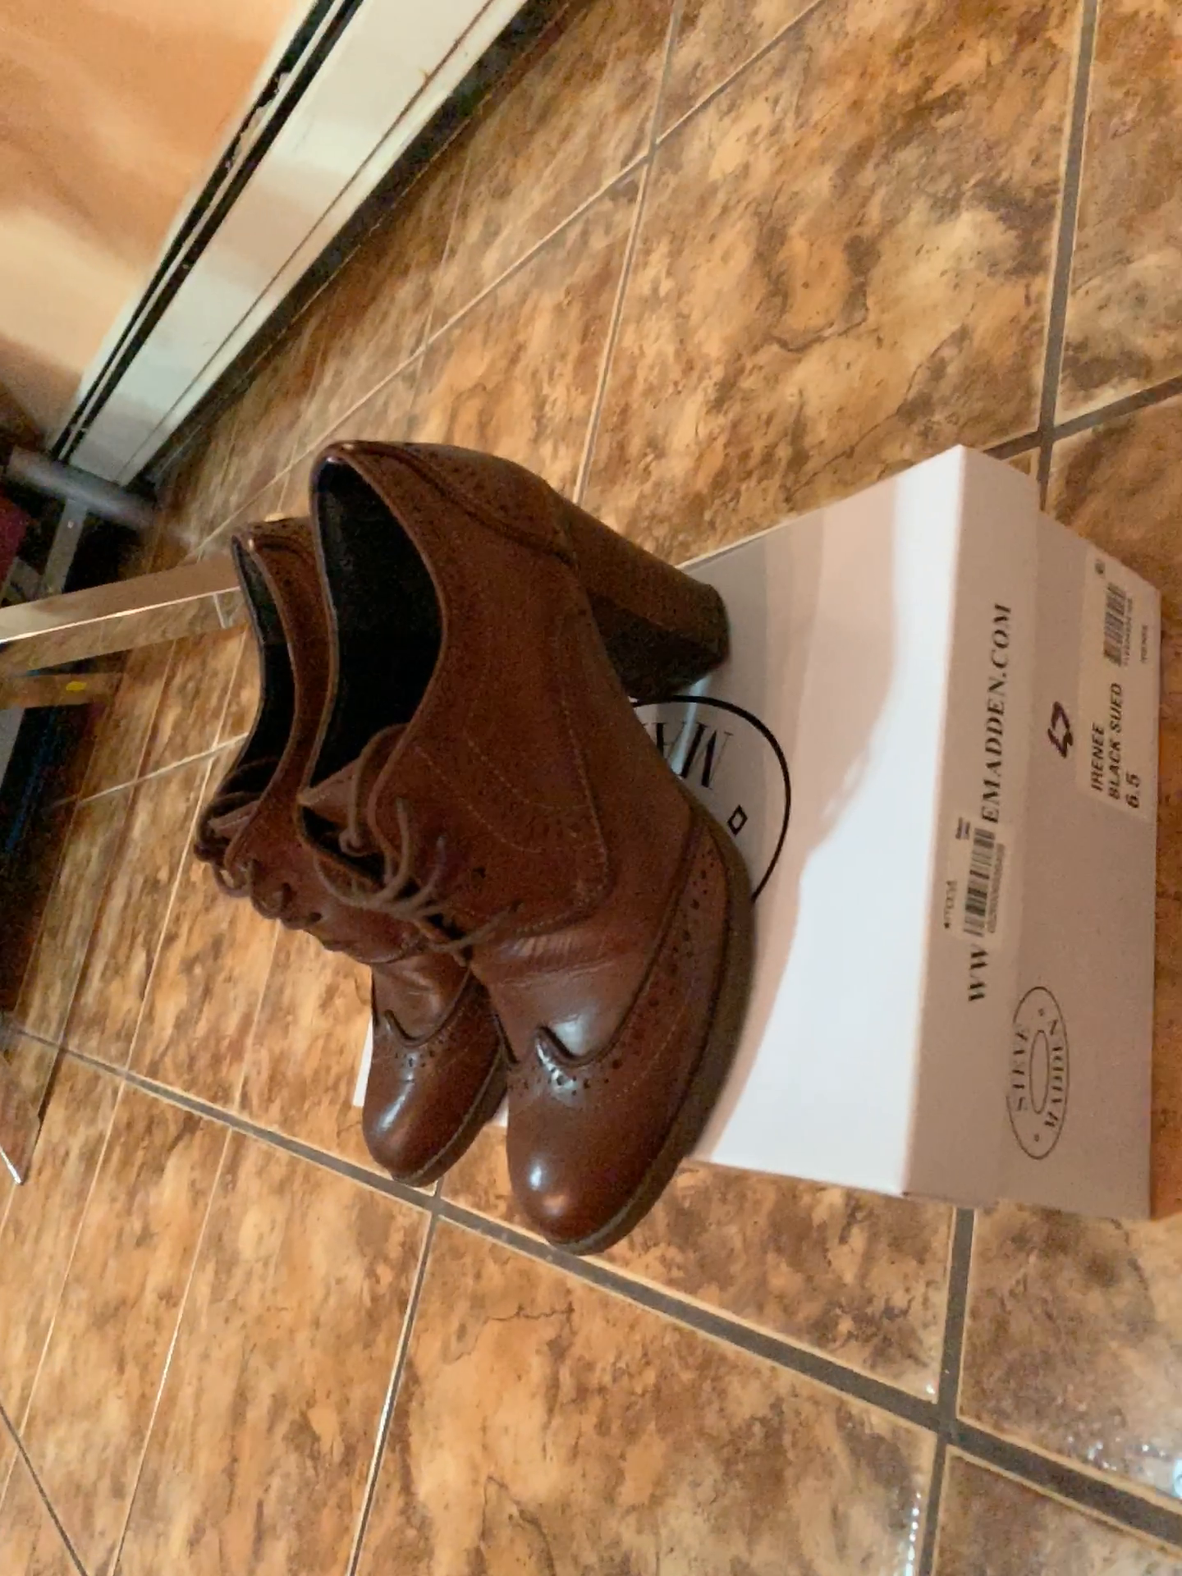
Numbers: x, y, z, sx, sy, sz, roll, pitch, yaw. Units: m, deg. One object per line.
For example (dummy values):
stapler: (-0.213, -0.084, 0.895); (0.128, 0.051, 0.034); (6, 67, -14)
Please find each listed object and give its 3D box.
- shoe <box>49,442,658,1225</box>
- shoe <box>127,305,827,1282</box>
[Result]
shoe: (-0.081, 0.021, 0.437); (0.096, 0.136, 0.228); (-8, 65, 56)
shoe: (-0.023, 0.009, 0.352); (0.096, 0.136, 0.228); (-19, 56, 53)
